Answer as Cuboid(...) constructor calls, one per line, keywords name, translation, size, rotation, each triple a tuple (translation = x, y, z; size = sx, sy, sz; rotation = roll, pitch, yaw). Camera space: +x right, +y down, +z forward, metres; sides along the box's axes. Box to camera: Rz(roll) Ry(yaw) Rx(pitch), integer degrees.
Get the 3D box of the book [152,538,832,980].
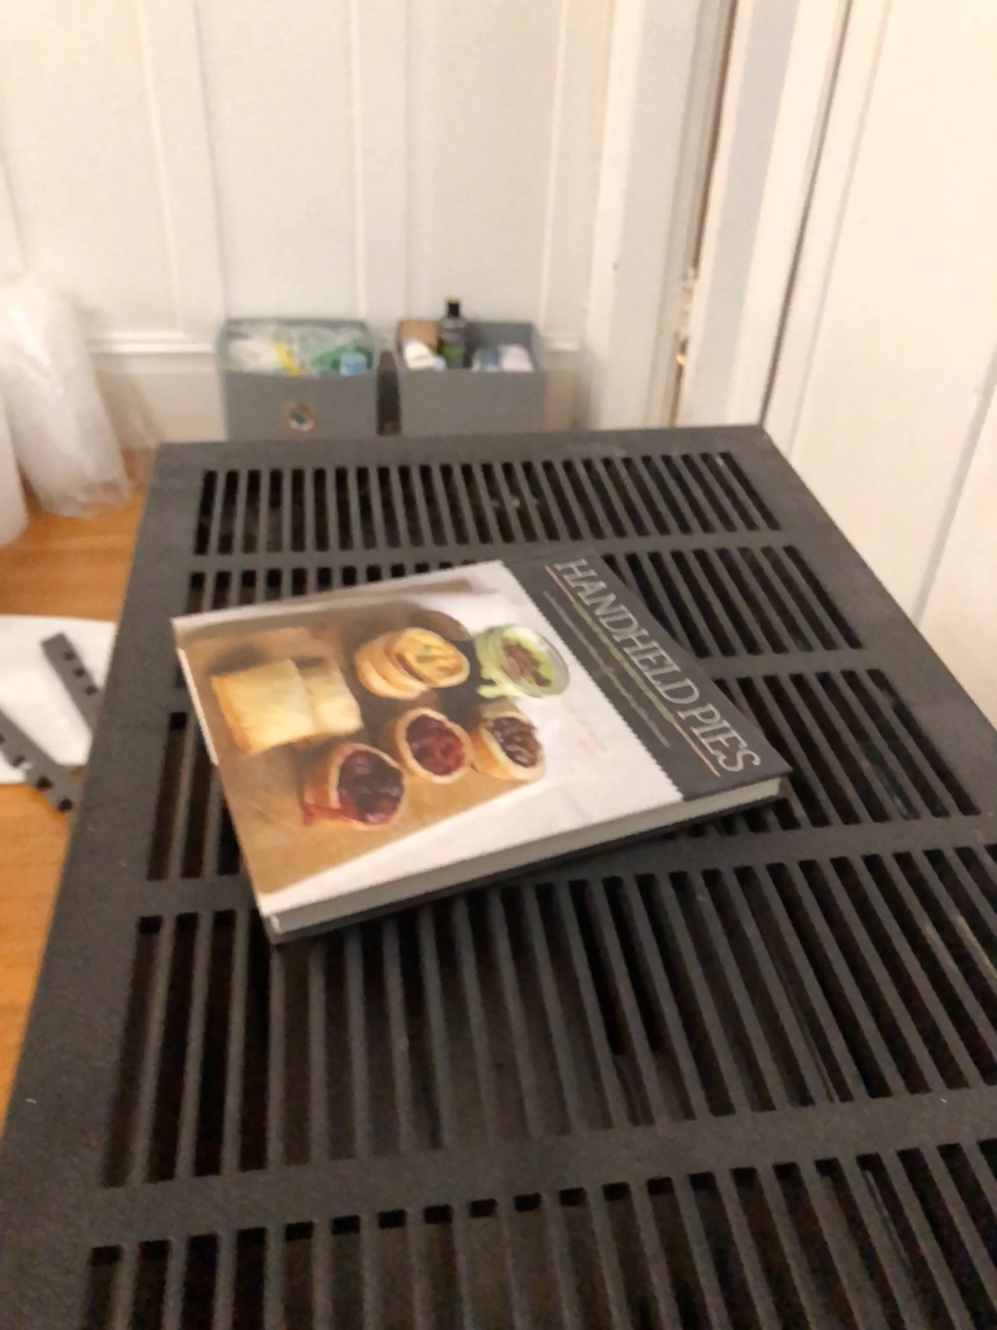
Cuboid(name="book", translation=(-0.014, 0.019, 0.476), size=(0.230, 0.020, 0.201), rotation=(-12, 38, -19))
